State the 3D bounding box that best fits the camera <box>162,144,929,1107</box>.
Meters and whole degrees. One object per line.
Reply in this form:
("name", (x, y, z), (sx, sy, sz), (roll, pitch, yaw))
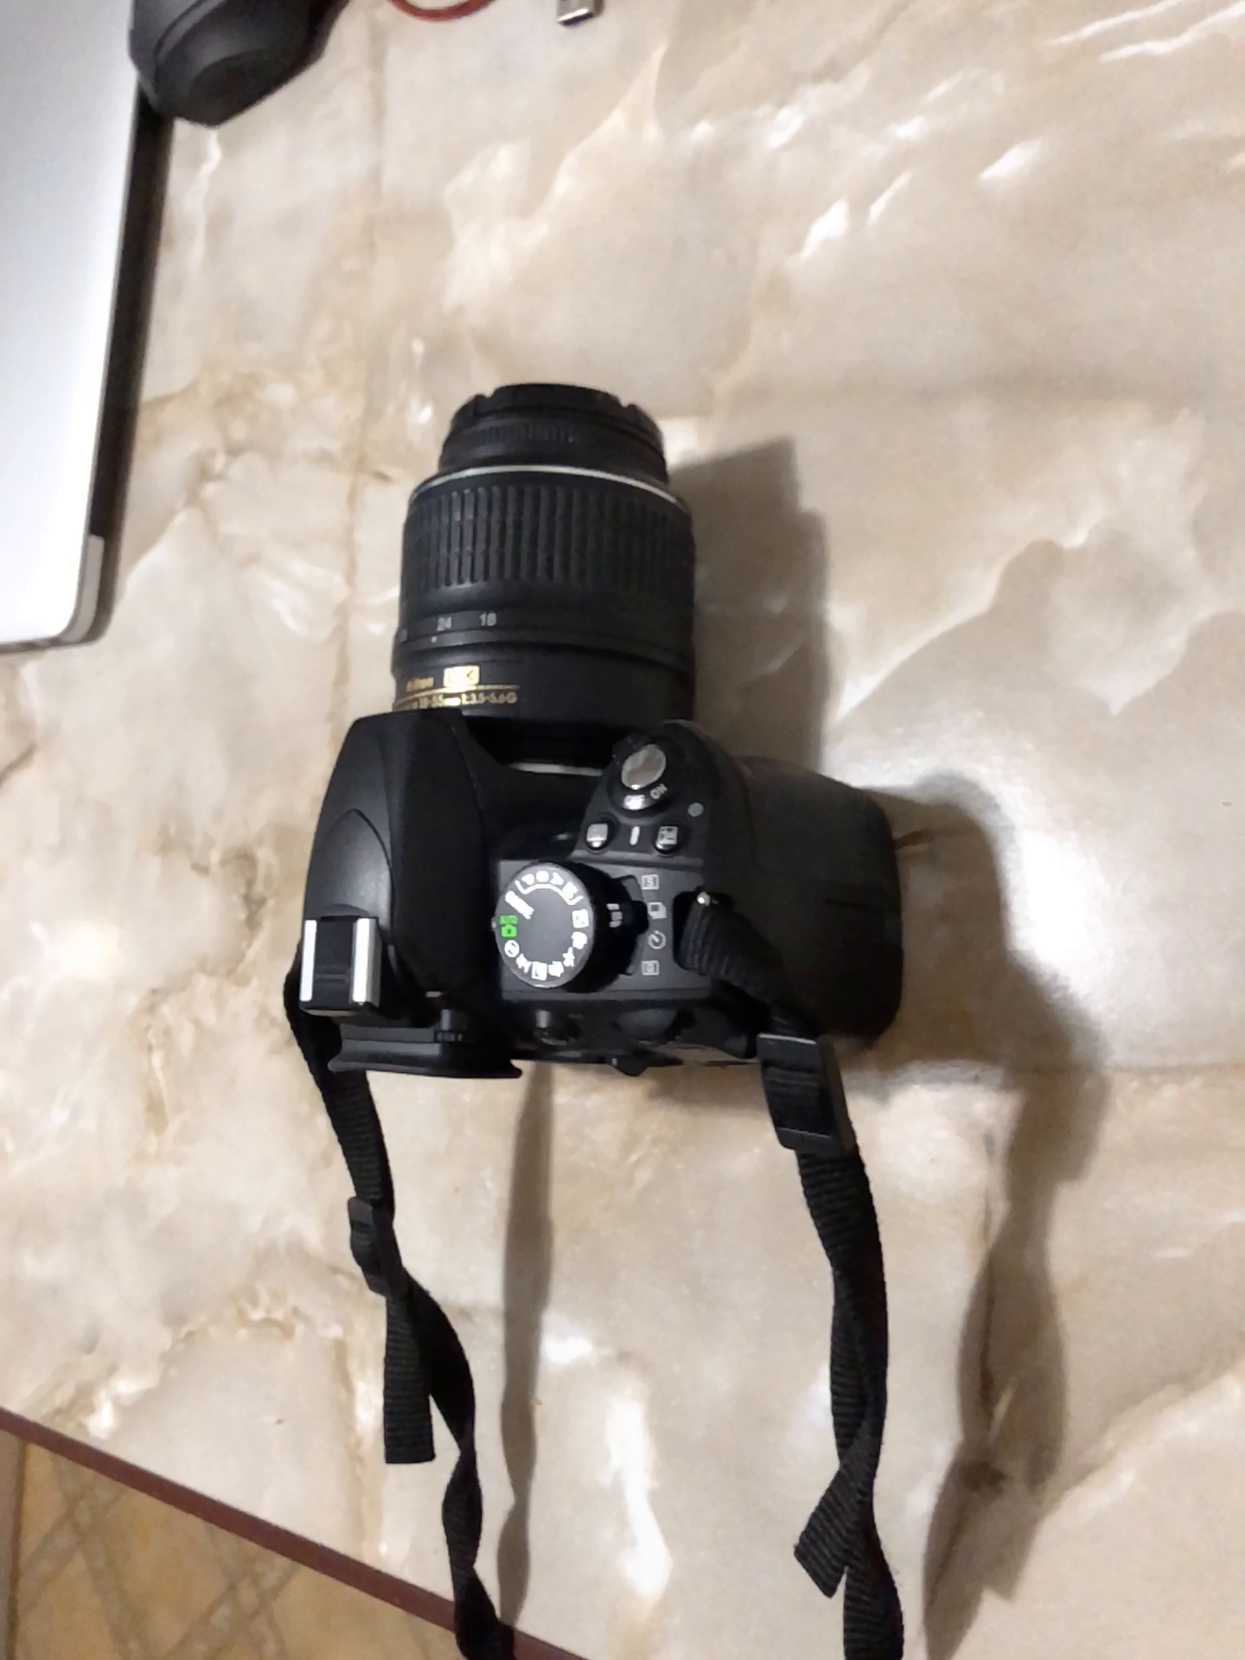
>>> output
("camera", (-0.015, -0.026, 0.300), (0.126, 0.100, 0.160), (-5, 80, 38))
